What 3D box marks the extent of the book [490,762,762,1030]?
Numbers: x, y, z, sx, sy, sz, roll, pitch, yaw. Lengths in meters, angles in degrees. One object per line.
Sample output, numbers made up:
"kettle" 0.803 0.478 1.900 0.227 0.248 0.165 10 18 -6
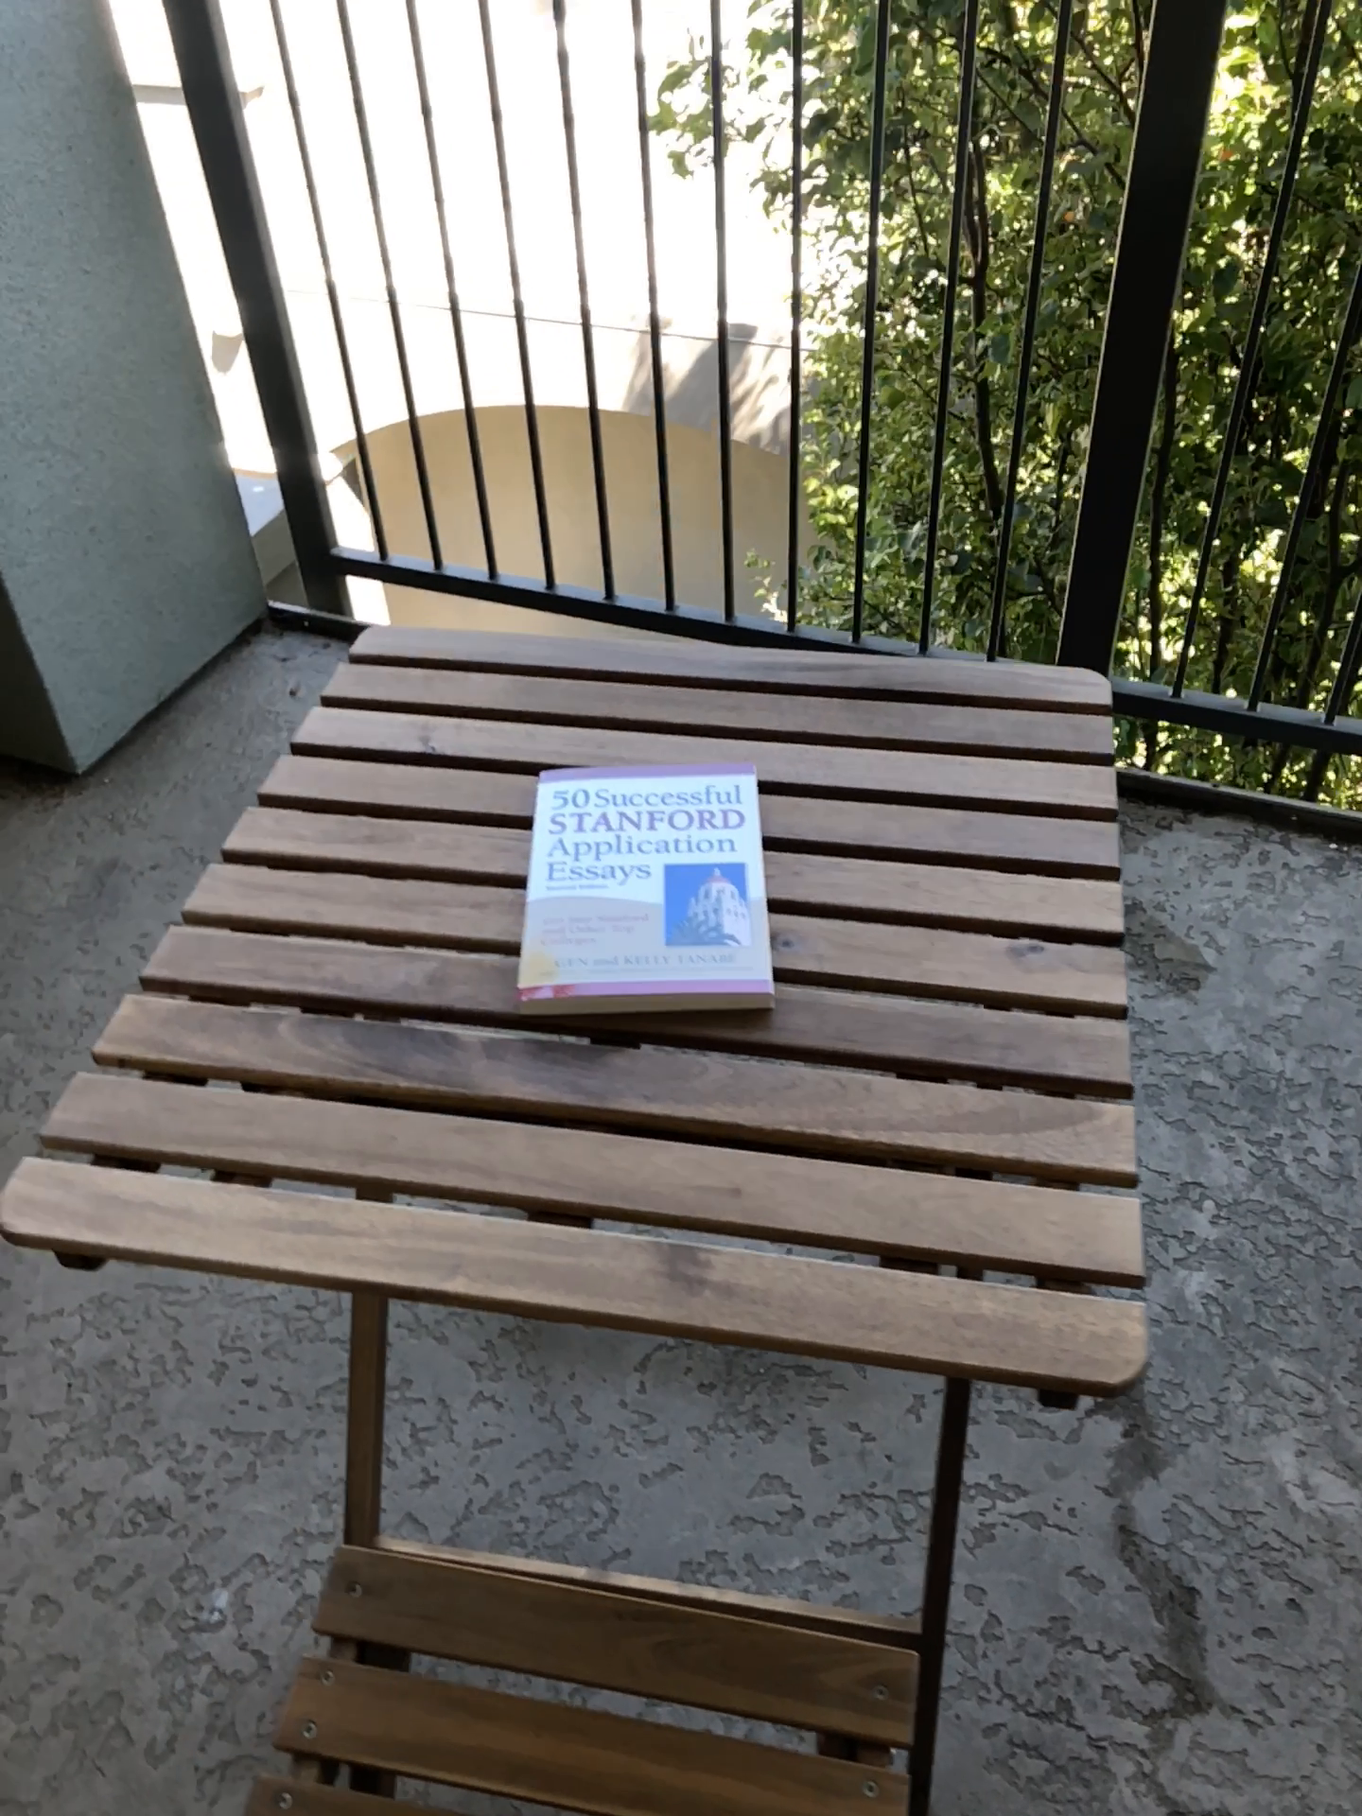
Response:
"book" -0.032 -0.014 0.953 0.156 0.020 0.225 -2 42 1
